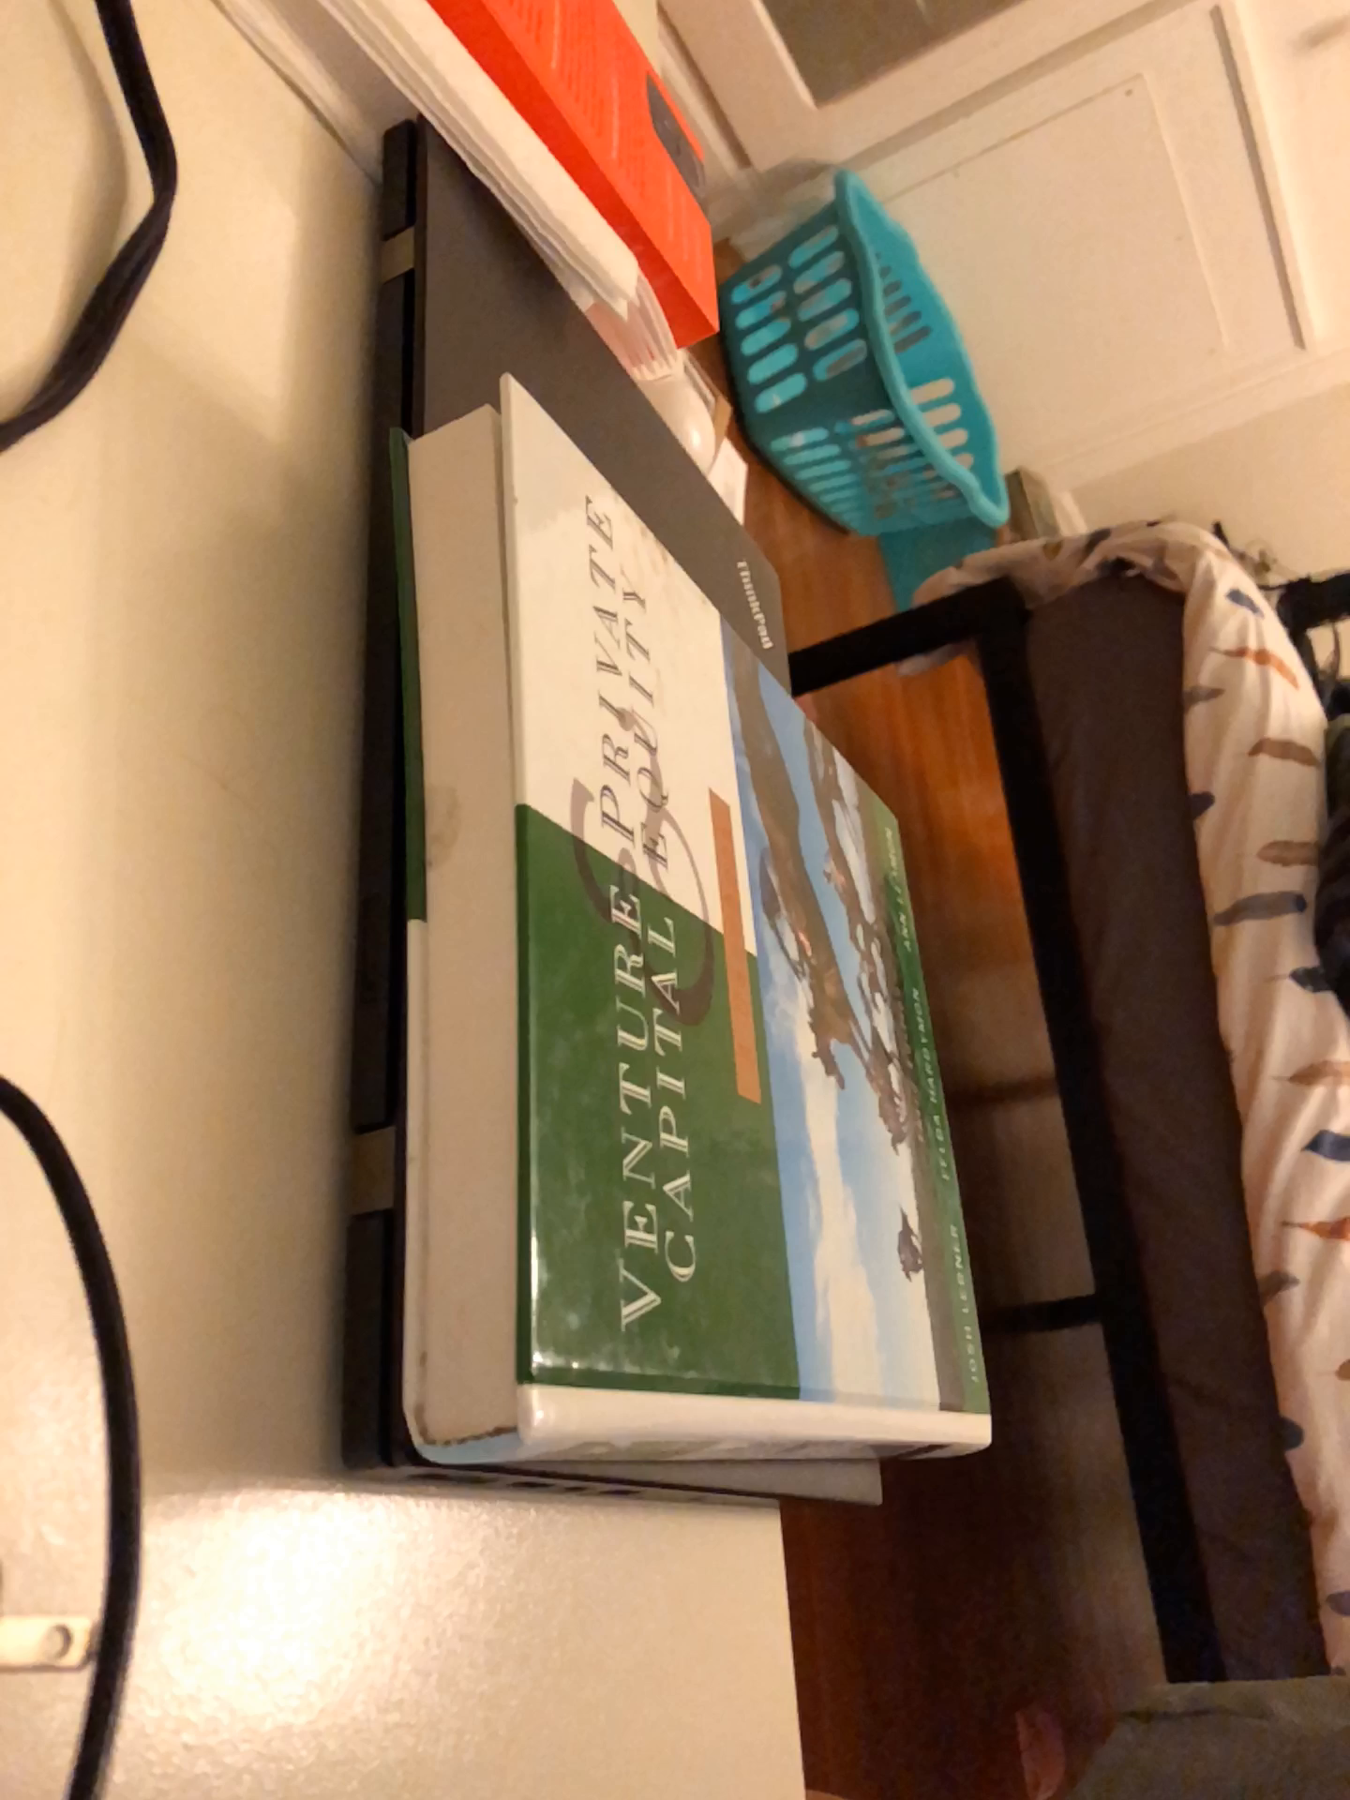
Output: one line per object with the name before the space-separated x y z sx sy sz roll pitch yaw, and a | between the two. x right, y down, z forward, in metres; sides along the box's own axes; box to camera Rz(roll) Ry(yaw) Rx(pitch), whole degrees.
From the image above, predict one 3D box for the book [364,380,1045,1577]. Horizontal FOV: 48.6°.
book | 0.021 0.041 0.377 0.271 0.030 0.220 34 45 -55
